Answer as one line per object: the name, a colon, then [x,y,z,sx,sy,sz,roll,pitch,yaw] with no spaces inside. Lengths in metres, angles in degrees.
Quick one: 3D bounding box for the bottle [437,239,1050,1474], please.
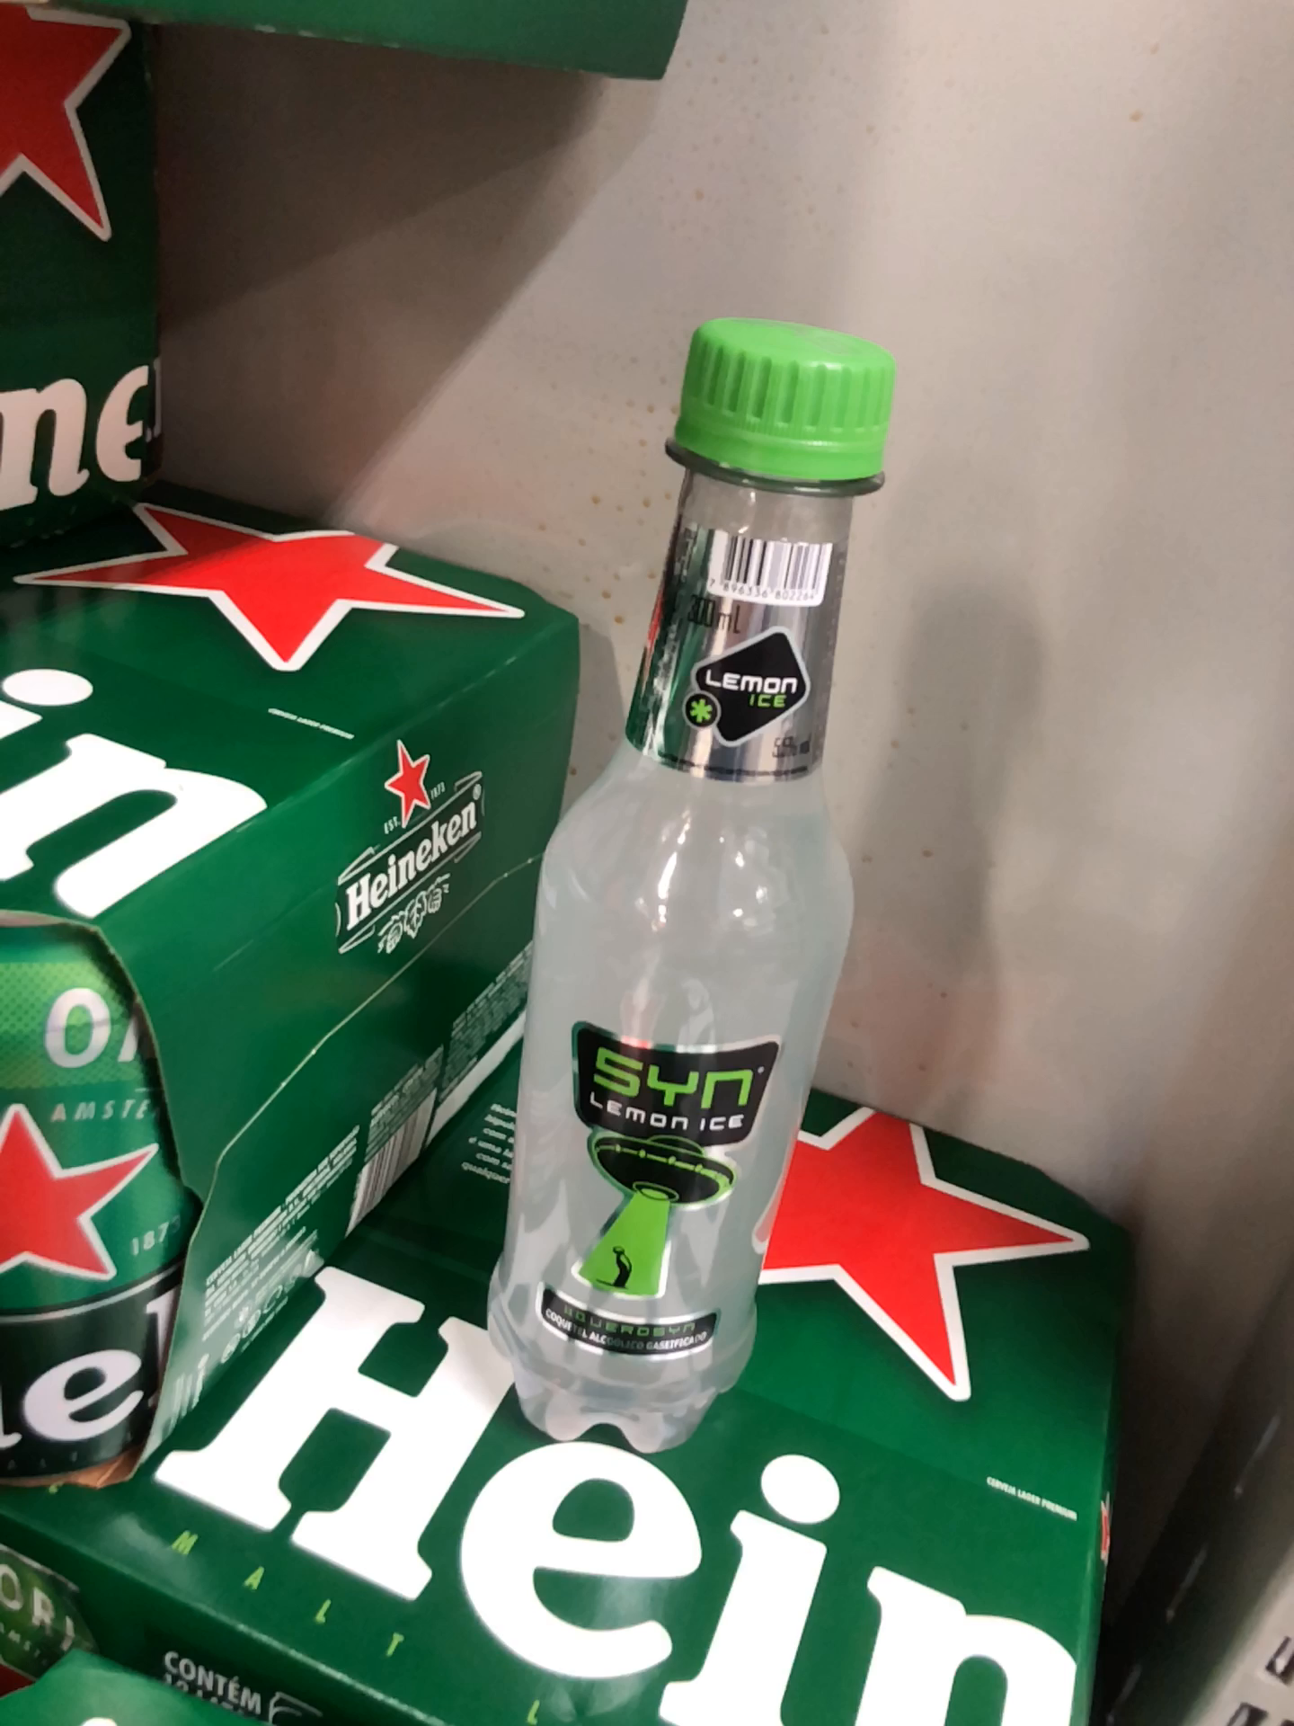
bottle: [0.007,0.009,0.255,0.060,0.208,0.060,8,29,-4]
